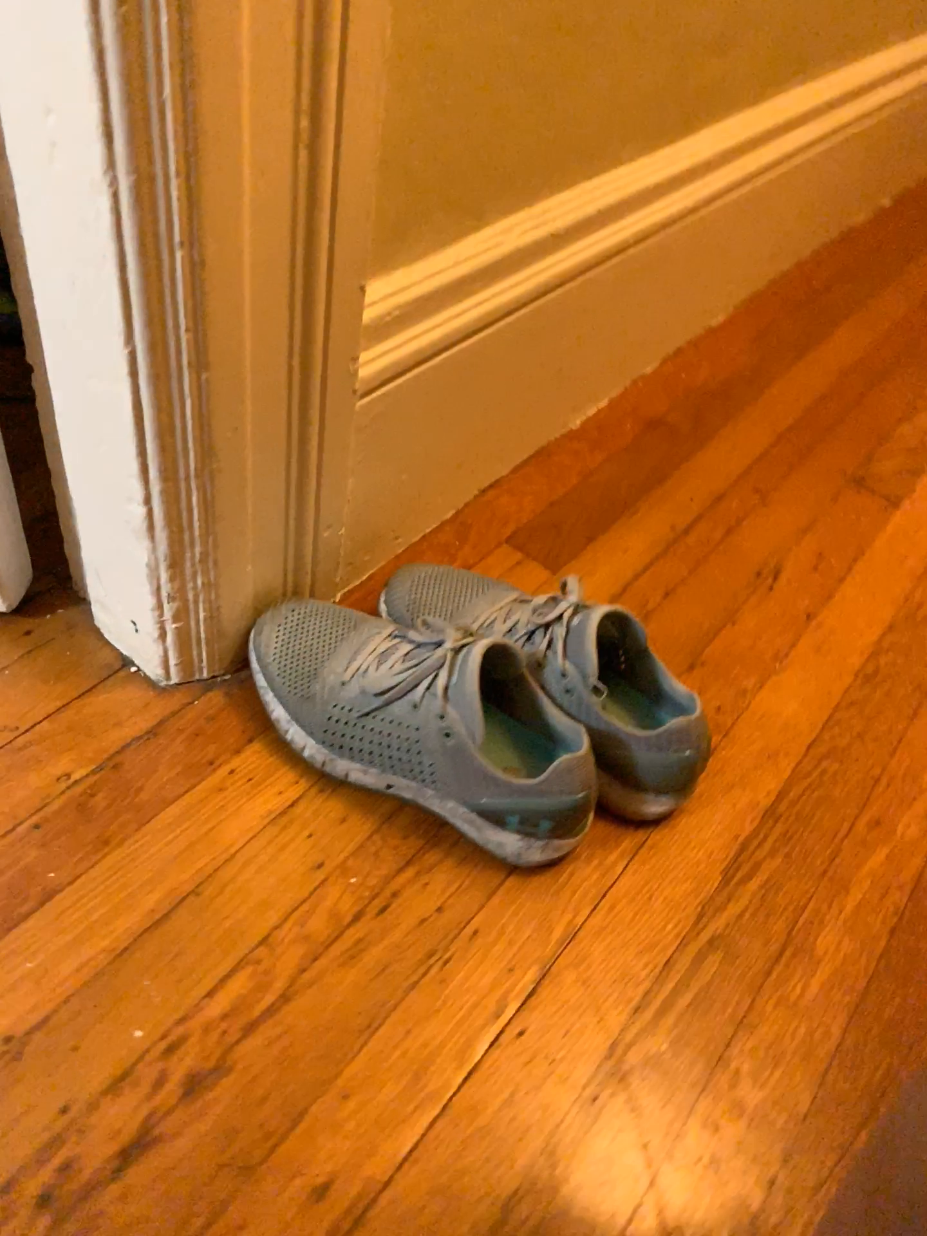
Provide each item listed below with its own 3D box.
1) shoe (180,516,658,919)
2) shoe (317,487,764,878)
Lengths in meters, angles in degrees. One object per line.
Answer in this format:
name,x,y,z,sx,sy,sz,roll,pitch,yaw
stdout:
shoe,-0.031,0.053,0.579,0.260,0.080,0.110,28,49,13
shoe,0.043,0.035,0.639,0.270,0.090,0.110,32,50,17
